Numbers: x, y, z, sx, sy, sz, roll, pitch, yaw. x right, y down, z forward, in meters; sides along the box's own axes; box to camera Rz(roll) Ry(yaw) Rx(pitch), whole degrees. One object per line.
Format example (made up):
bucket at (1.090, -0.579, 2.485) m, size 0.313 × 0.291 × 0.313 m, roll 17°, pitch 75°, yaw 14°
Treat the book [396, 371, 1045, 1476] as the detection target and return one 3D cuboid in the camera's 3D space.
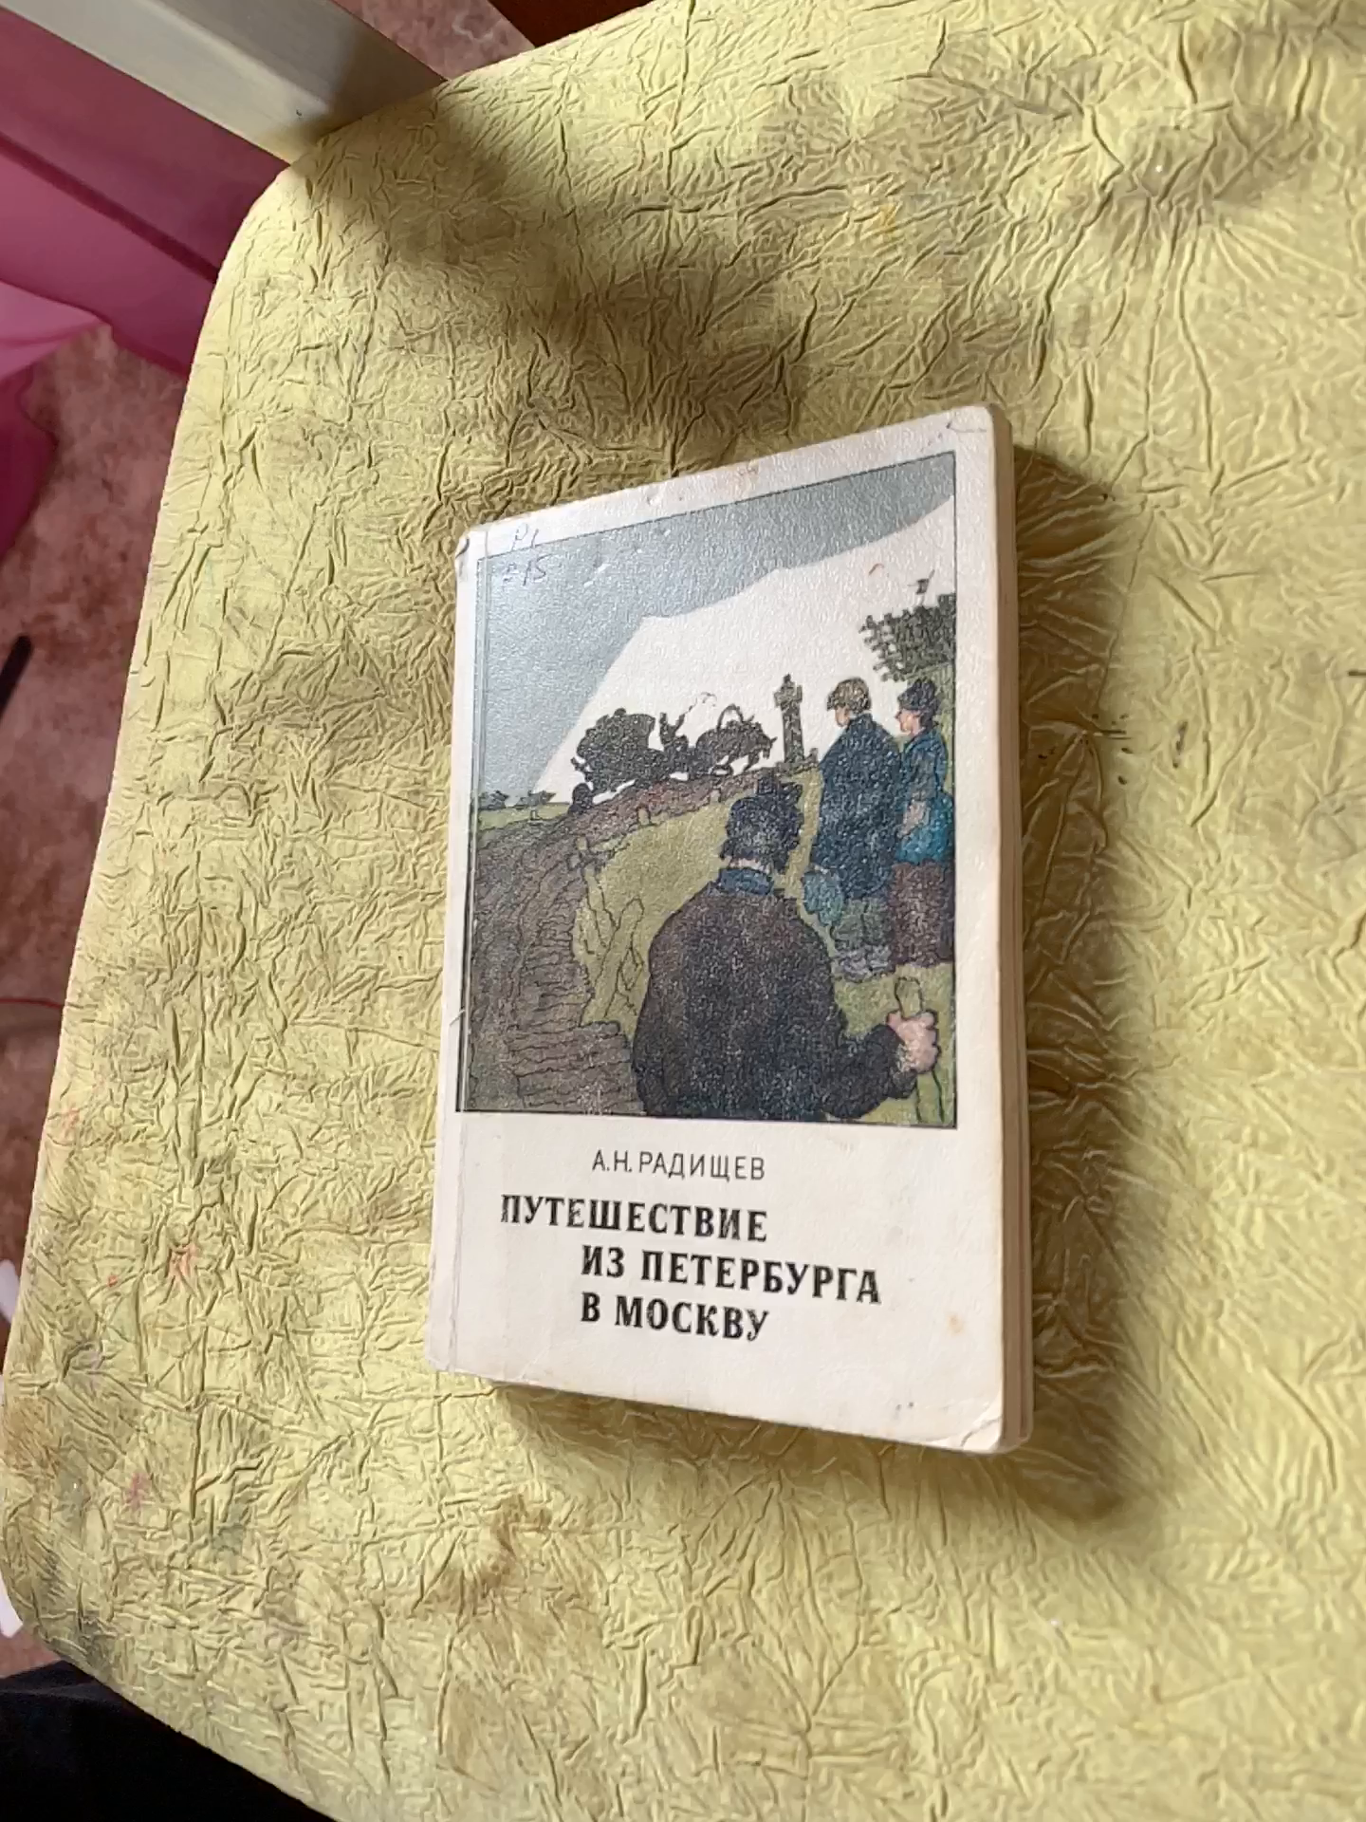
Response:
book at (0.003, 0.001, 0.242) m, size 0.111 × 0.020 × 0.162 m, roll -3°, pitch 81°, yaw 31°
